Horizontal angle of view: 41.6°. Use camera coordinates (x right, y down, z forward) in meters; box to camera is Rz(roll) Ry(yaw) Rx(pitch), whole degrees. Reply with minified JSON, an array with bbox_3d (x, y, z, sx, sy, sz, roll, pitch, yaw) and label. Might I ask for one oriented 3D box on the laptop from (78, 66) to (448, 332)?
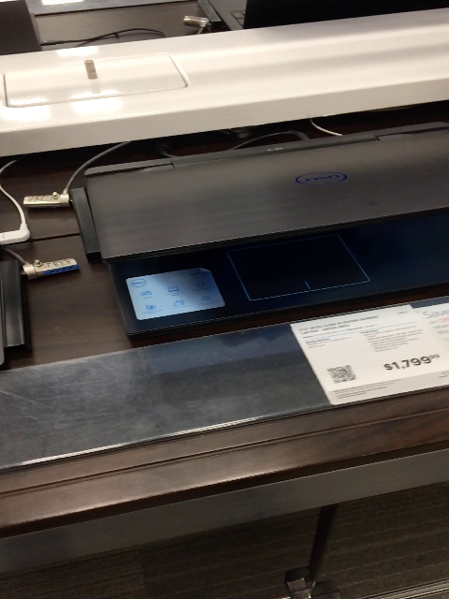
[{"bbox_3d":[0.104,-0.120,0.603,0.451,0.085,0.251,-11,47,-7],"label":"laptop"}]
